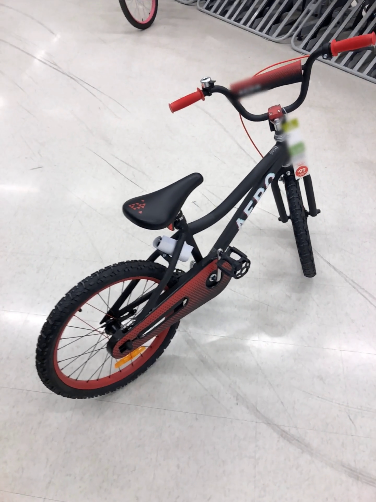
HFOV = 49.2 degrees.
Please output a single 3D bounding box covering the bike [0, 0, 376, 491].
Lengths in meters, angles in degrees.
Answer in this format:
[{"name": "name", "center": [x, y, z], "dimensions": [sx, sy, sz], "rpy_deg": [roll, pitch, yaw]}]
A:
[{"name": "bike", "center": [0.022, -0.146, 1.289], "dimensions": [0.626, 0.924, 1.250], "rpy_deg": [34, 56, 28]}]
